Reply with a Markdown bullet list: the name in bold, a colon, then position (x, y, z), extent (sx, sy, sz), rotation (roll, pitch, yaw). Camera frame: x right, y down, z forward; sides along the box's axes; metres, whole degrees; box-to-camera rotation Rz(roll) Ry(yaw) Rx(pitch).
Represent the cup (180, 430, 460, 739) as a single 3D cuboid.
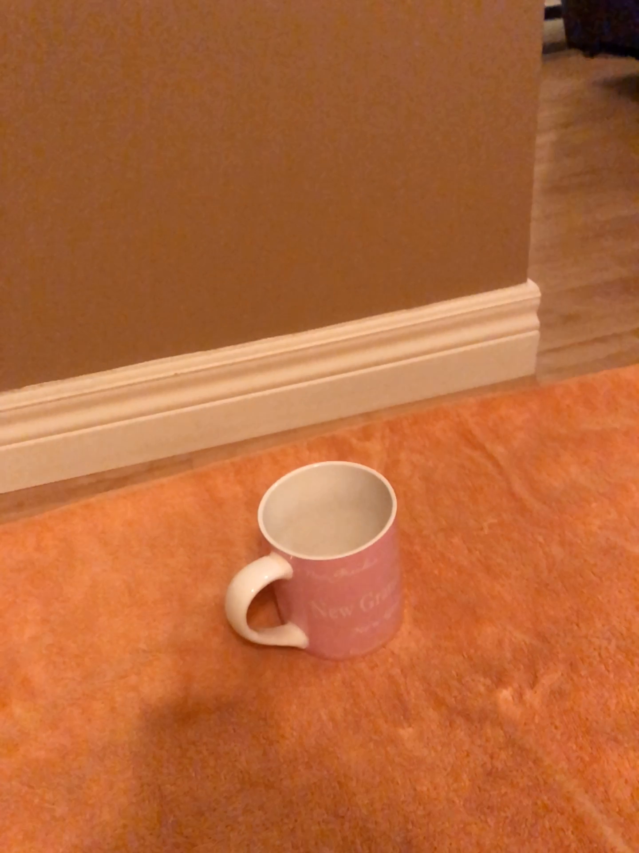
- **cup**: position (0.004, 0.099, 0.477), extent (0.140, 0.110, 0.110), rotation (-26, 39, -24)
